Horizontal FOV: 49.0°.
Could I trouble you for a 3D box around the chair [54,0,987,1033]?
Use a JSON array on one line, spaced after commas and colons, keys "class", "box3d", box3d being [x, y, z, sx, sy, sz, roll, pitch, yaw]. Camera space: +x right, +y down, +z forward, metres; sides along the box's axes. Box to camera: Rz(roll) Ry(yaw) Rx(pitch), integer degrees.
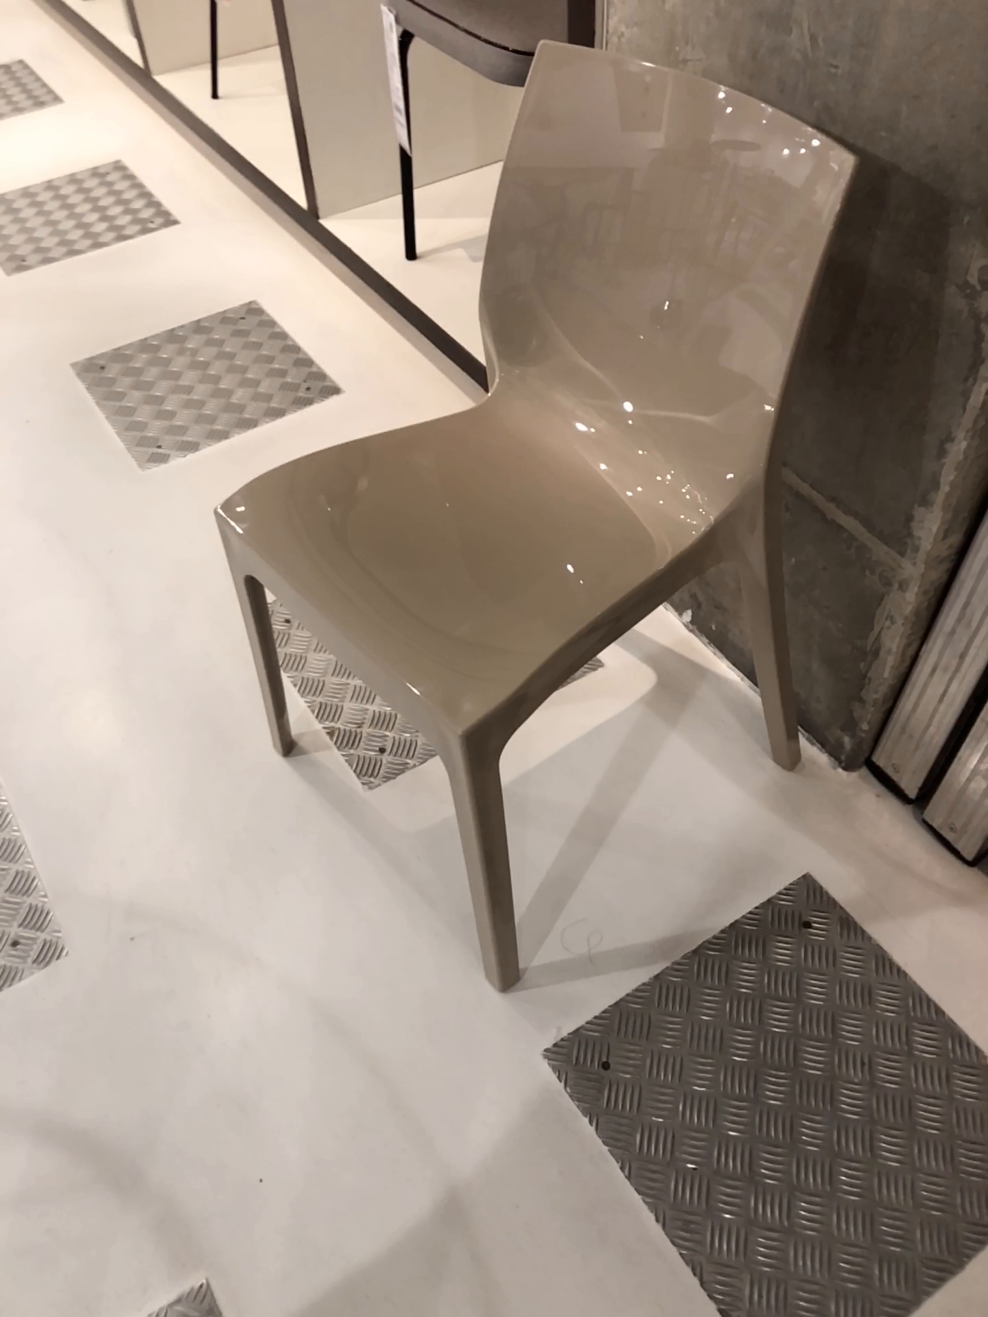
[{"class": "chair", "box3d": [0.042, -0.145, 1.175, 0.562, 0.824, 0.552, -33, 55, -24]}]
